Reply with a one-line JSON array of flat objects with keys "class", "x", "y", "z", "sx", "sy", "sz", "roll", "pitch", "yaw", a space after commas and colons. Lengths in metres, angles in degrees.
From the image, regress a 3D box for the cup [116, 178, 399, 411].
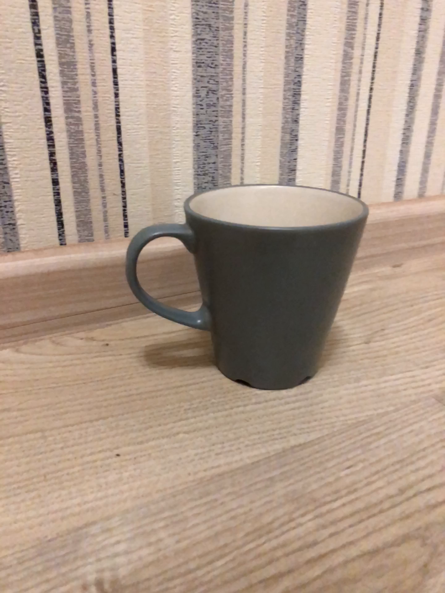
[{"class": "cup", "x": 0.010, "y": -0.011, "z": 0.275, "sx": 0.124, "sy": 0.089, "sz": 0.096, "roll": -6, "pitch": 23, "yaw": -15}]
